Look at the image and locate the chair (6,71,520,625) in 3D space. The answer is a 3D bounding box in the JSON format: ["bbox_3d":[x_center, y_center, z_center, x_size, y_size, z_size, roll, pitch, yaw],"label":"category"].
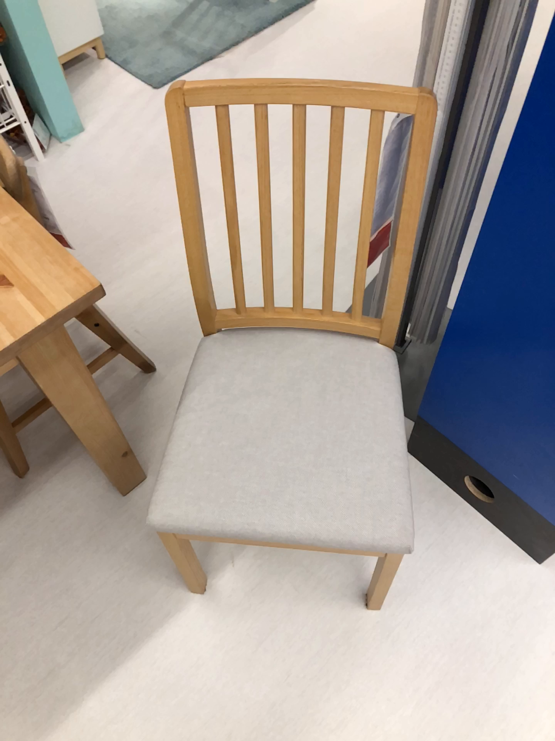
[{"bbox_3d":[0.022,0.057,1.026,0.450,0.856,0.512,4,58,5],"label":"chair"}]
